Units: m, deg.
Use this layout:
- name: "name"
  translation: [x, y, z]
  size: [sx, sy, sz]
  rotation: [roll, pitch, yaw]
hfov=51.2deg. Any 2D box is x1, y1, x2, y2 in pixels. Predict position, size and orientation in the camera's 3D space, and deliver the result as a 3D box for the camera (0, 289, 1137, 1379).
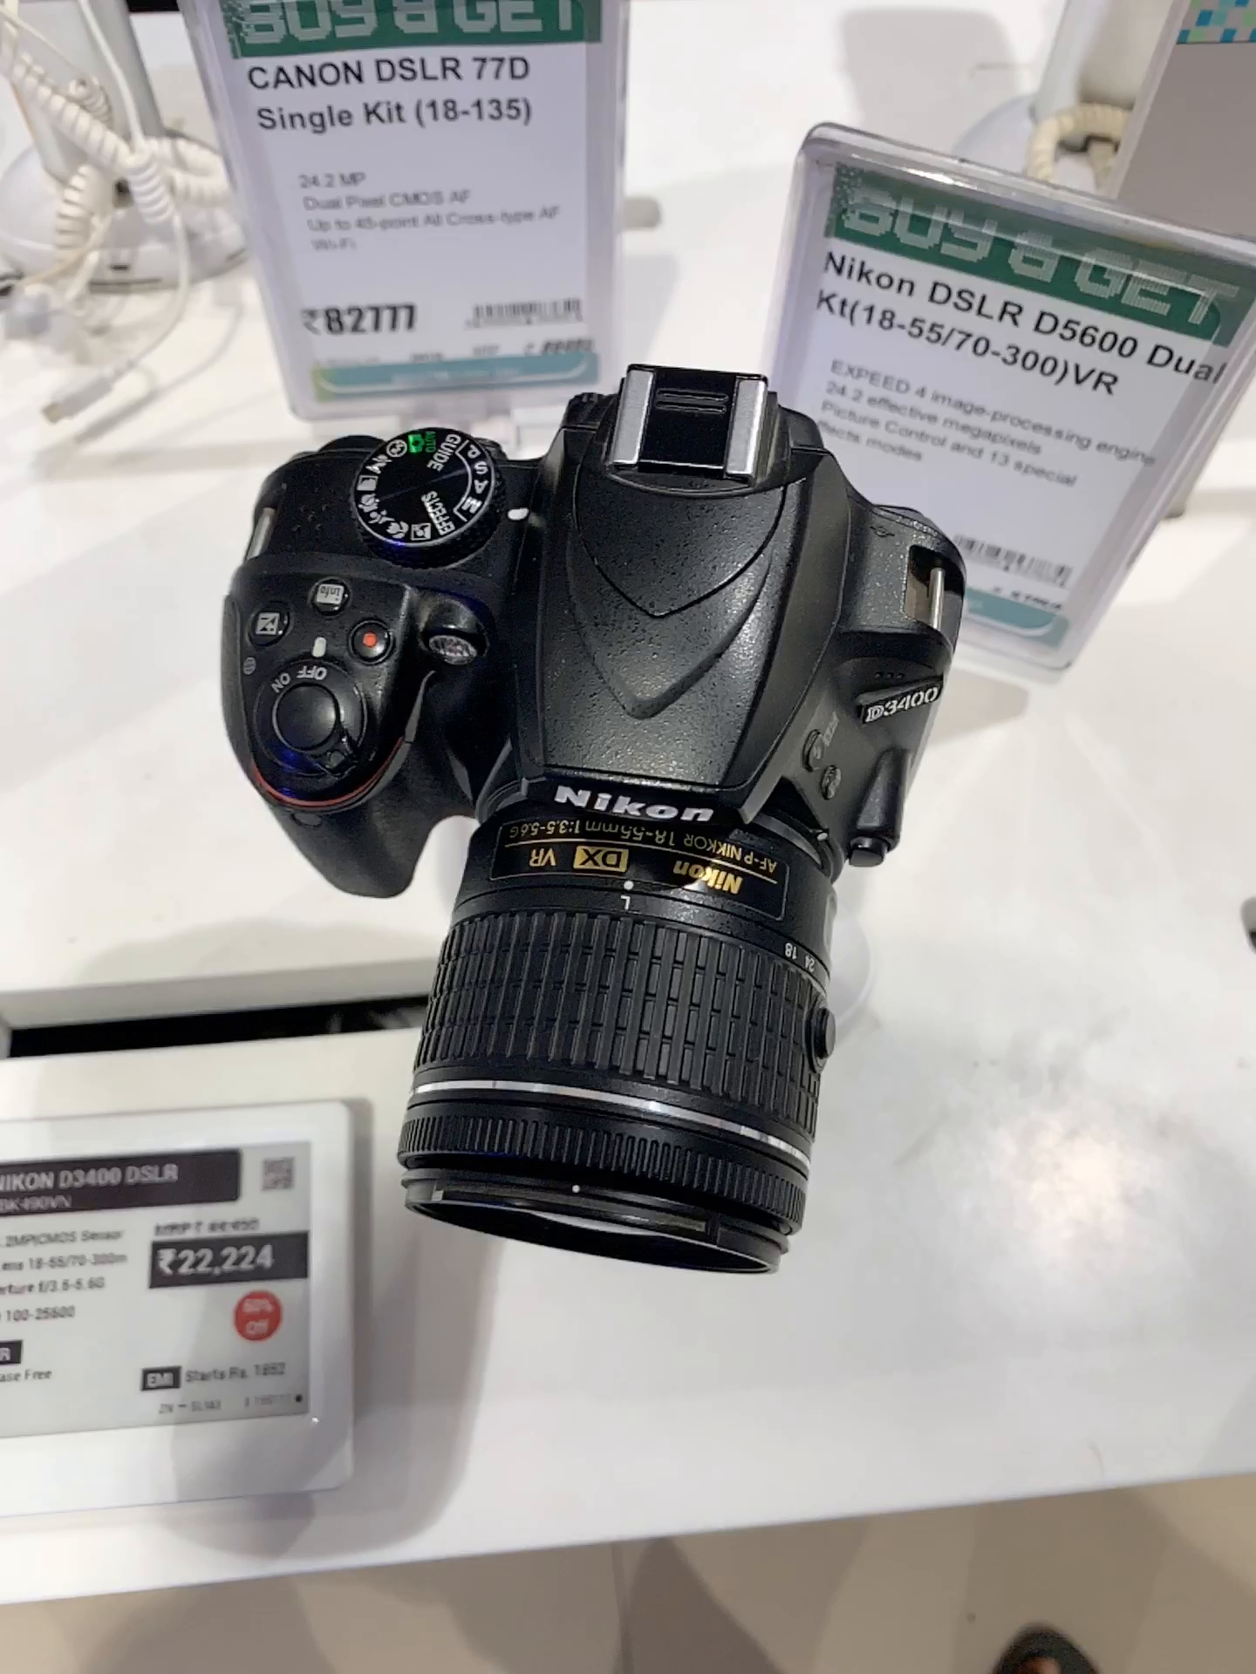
- name: "camera"
  translation: [-0.005, 0.002, 0.188]
  size: [0.120, 0.080, 0.120]
  rotation: [7, 64, 2]
